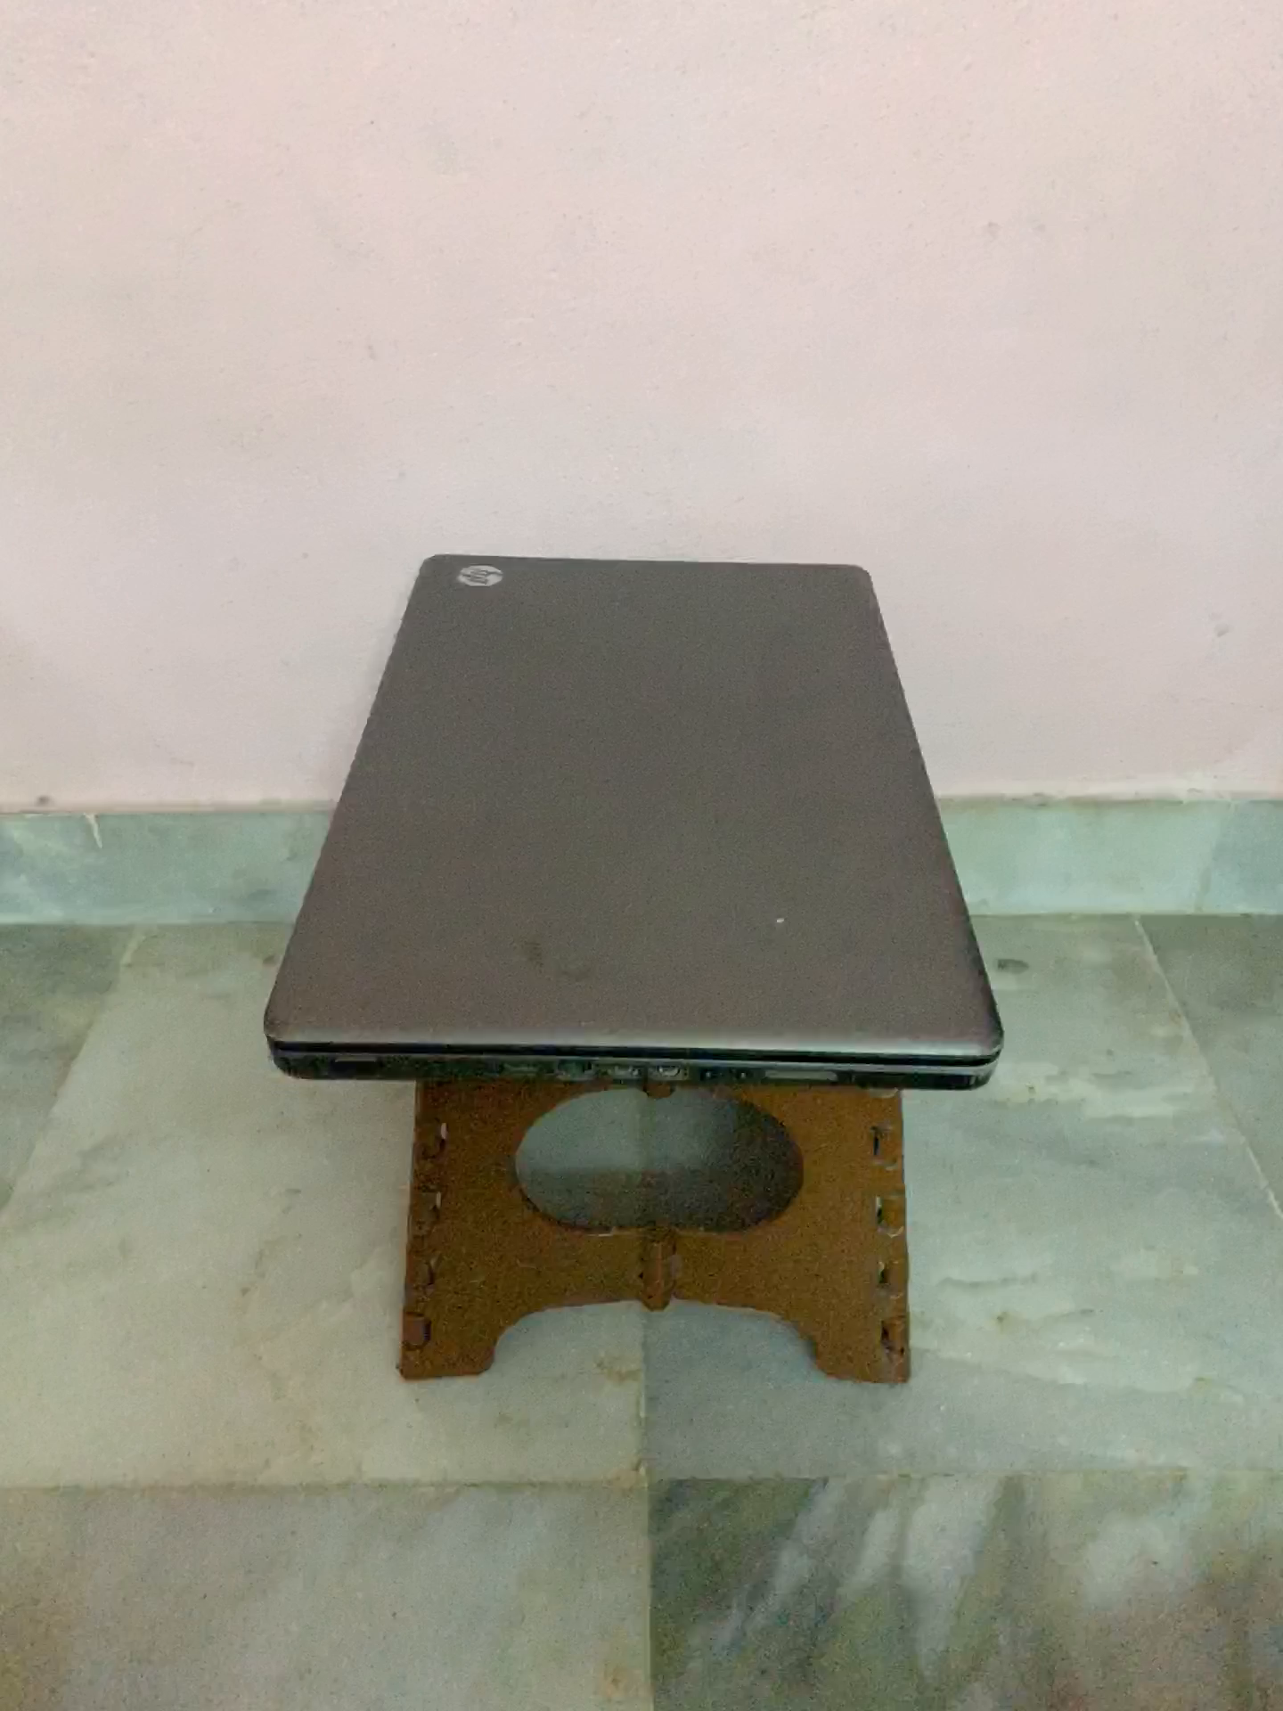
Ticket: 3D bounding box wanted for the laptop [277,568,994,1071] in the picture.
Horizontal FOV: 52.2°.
[{"bbox_3d":[0.001,-0.045,0.594,0.242,0.003,0.380,1,37,0],"label":"laptop"}]
